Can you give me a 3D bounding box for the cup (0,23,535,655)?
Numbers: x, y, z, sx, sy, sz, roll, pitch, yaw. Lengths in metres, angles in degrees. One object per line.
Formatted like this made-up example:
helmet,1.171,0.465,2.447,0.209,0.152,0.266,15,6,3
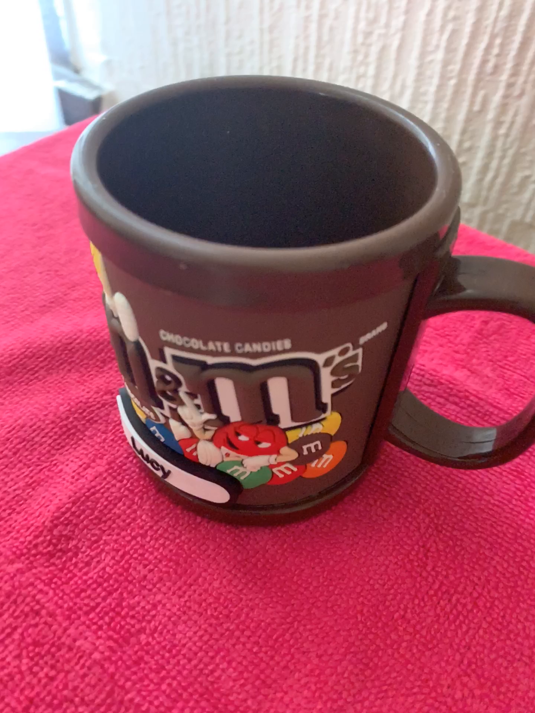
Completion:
cup,0.020,-0.009,0.145,0.120,0.099,0.091,18,48,14
